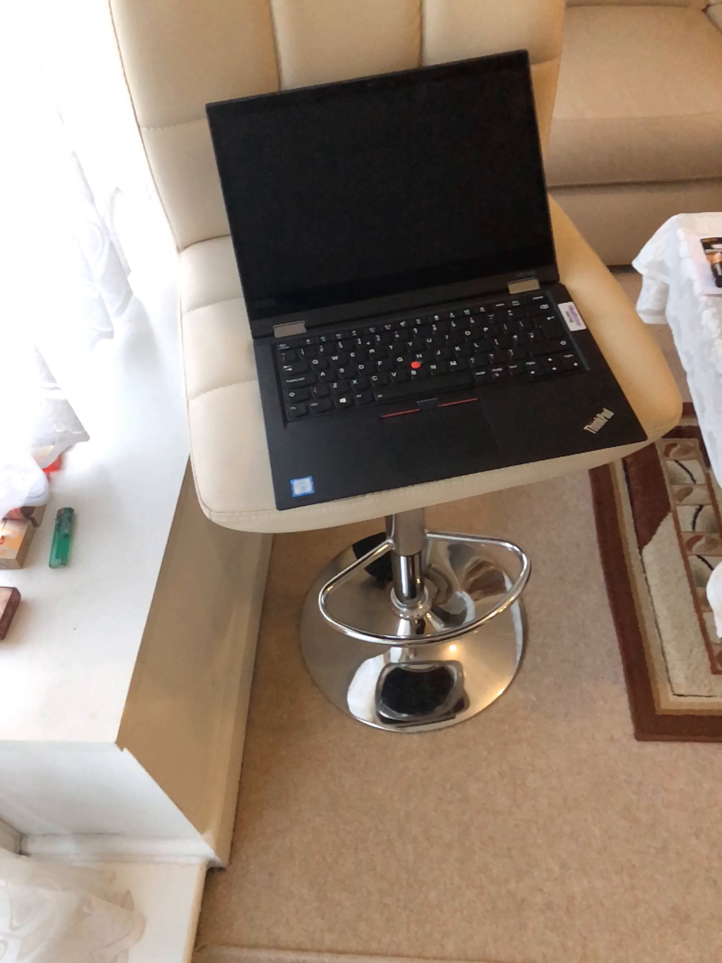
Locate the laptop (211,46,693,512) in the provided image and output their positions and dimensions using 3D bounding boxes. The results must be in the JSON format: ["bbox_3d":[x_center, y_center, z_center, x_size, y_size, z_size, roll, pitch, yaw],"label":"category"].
[{"bbox_3d":[0.048,-0.198,0.705,0.308,0.165,0.368,-11,51,-3],"label":"laptop"}]
